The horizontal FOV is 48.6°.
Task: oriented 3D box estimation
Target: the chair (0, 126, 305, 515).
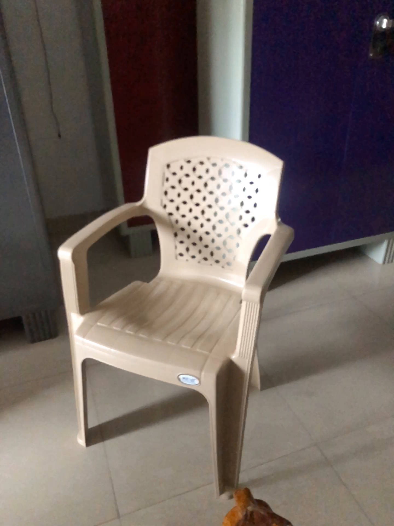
[{"bbox_3d":[-0.059,0.105,1.212,0.540,0.796,0.563,10,32,21],"label":"chair"}]
